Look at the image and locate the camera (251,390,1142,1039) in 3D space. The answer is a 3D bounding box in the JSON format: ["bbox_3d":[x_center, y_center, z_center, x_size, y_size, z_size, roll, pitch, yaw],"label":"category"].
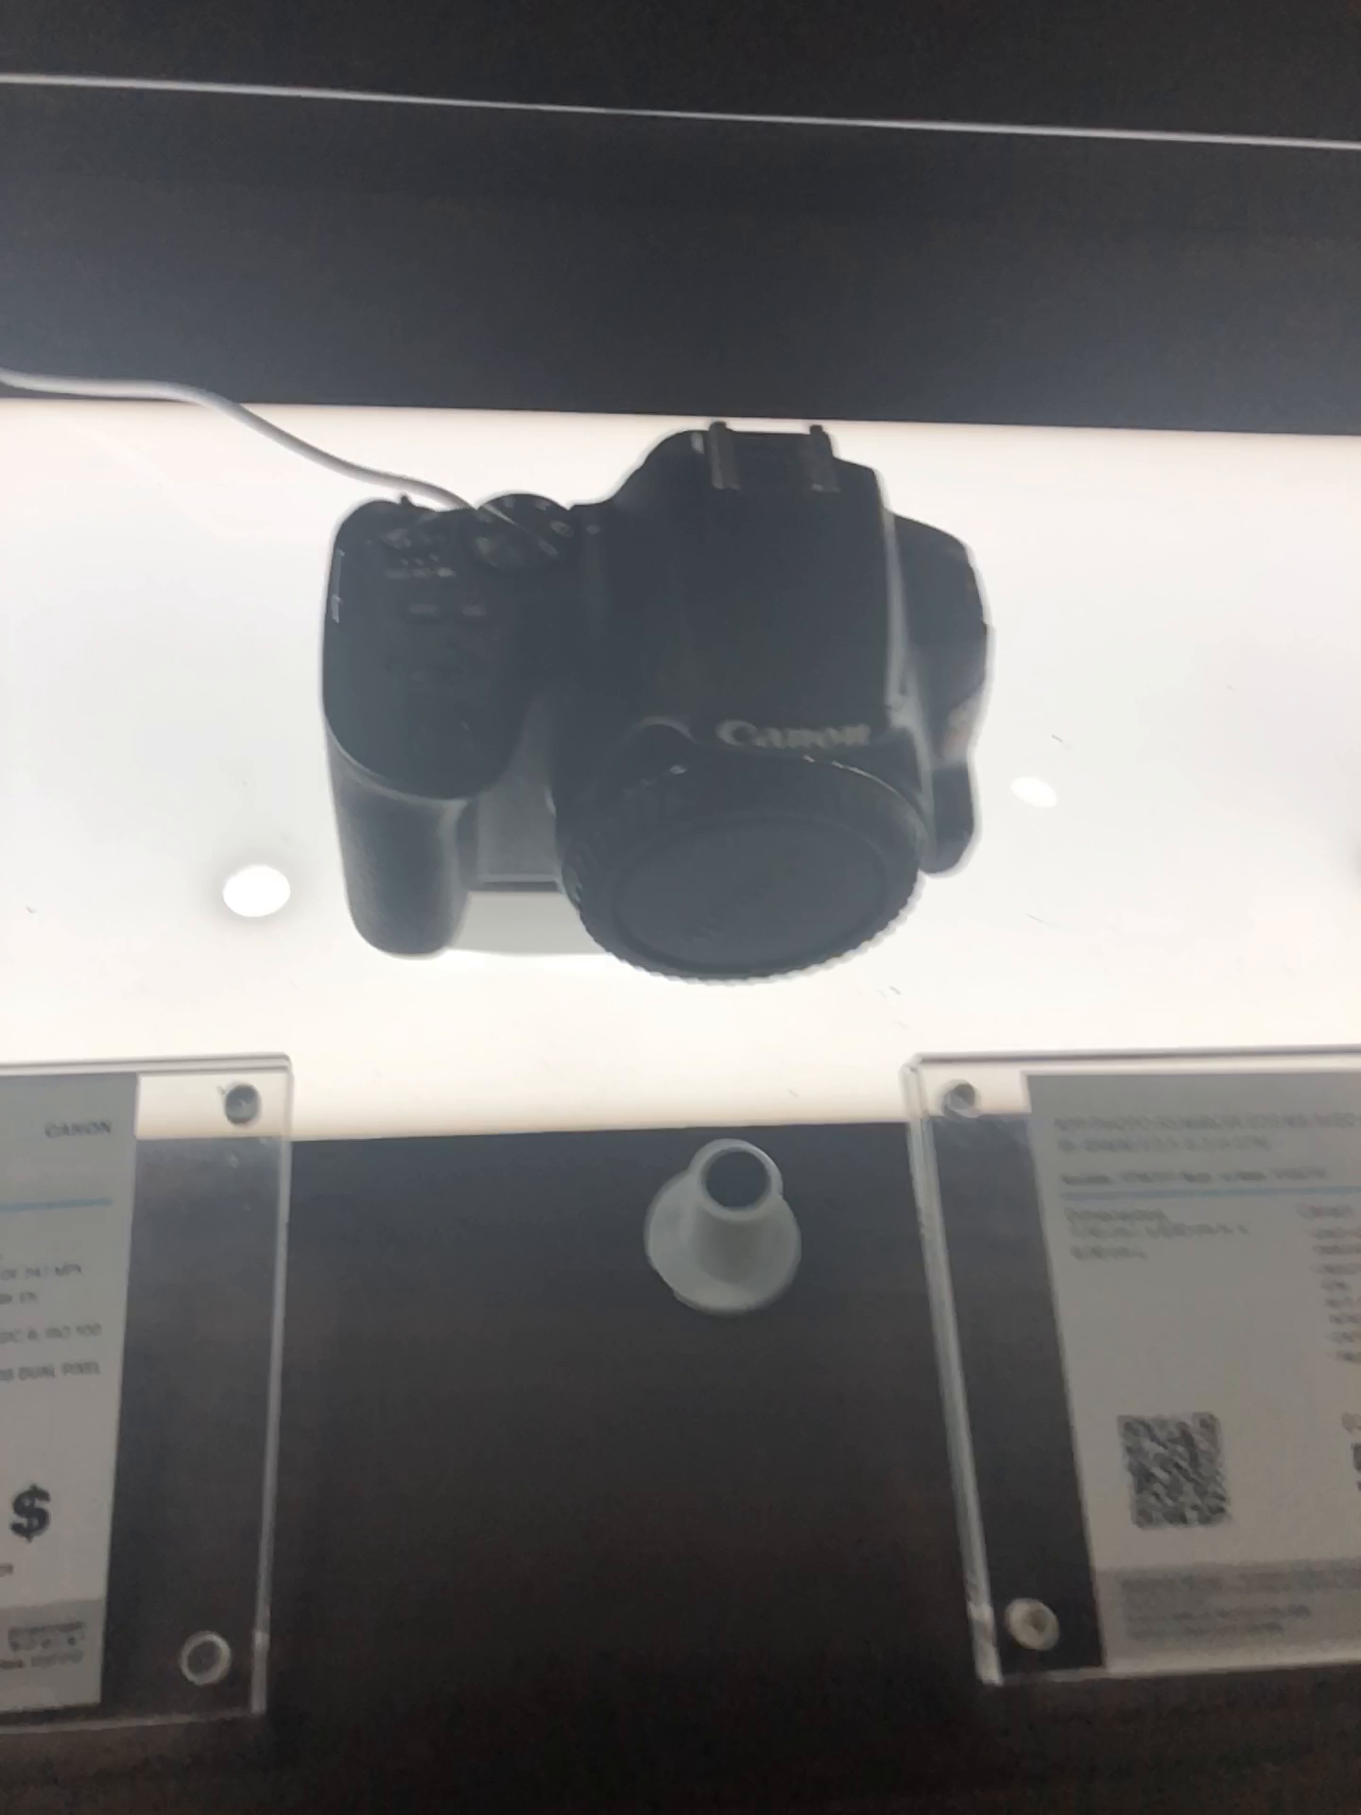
[{"bbox_3d":[-0.002,-0.032,0.258,0.123,0.071,0.081,0,51,-7],"label":"camera"}]
